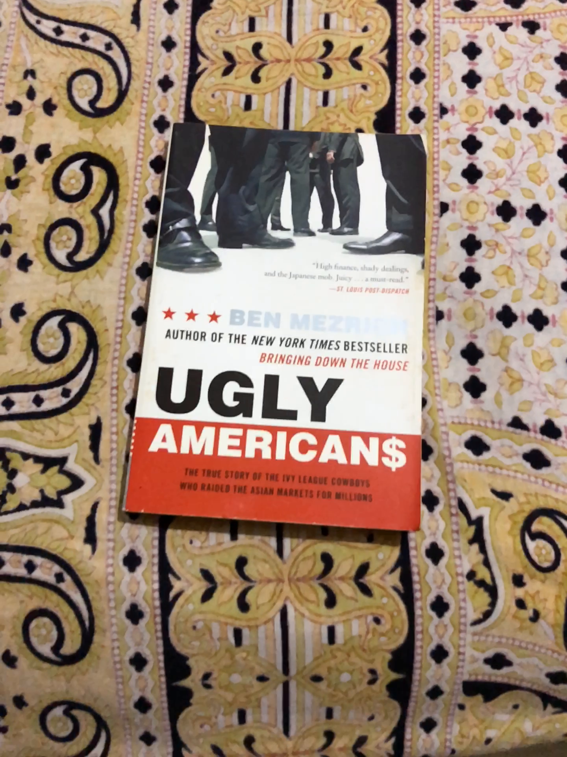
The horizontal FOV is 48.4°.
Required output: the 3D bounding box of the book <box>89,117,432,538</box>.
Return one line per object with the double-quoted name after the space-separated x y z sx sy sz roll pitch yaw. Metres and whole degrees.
-0.005 -0.028 0.297 0.140 0.030 0.190 3 77 3 "book"
